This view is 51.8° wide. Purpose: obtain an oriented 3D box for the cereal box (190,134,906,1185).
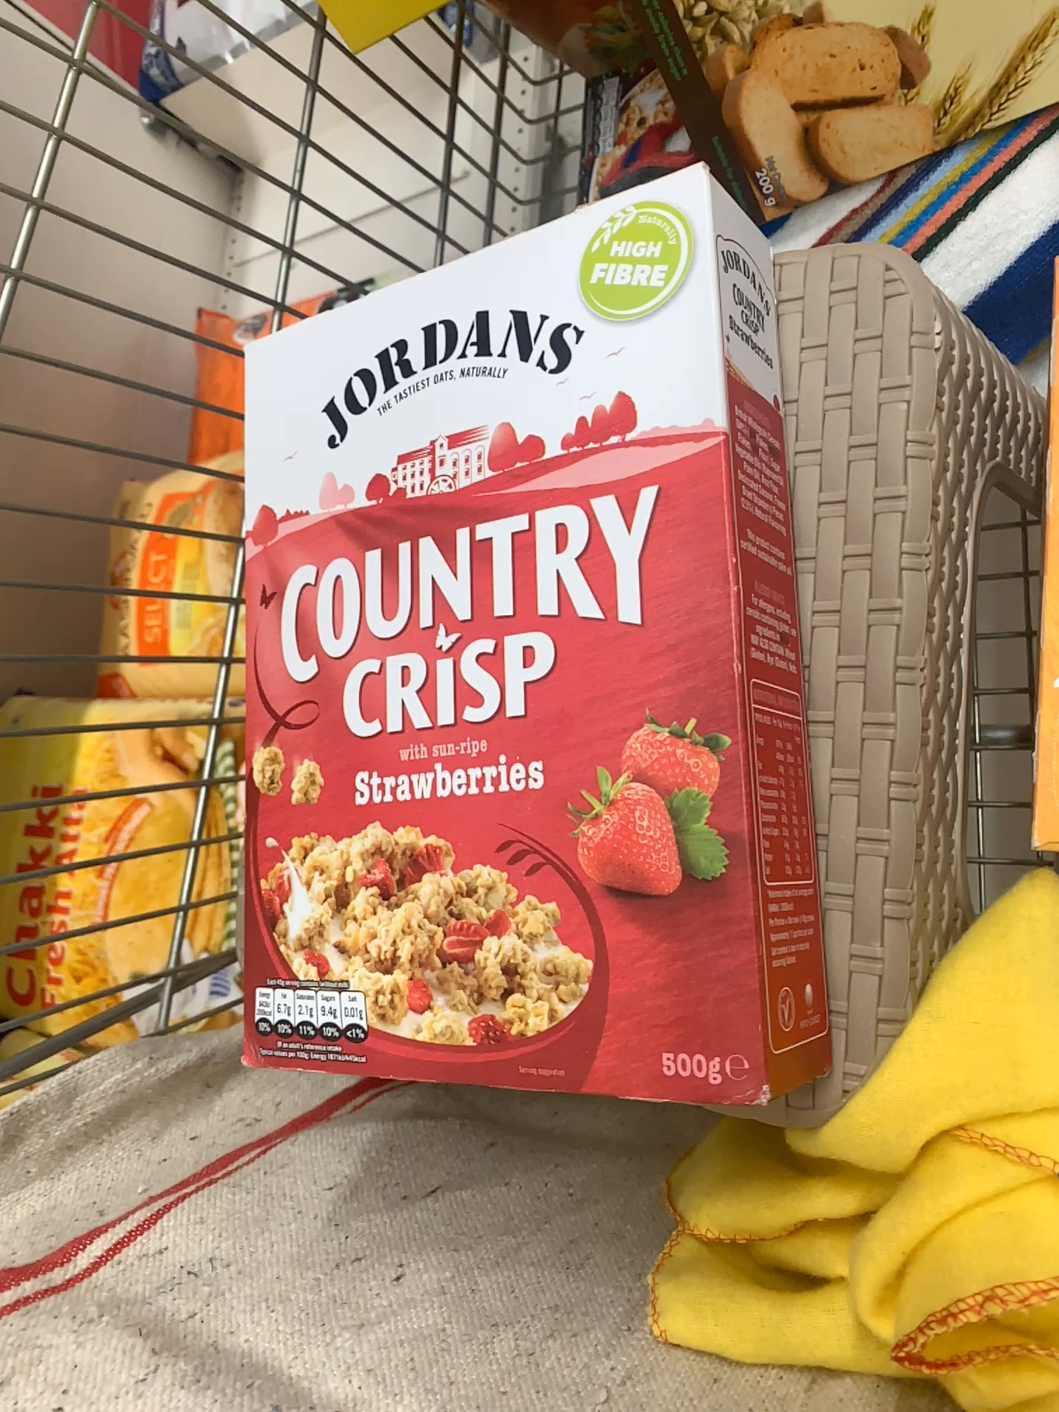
[{"bbox_3d":[-0.004,-0.004,0.310,0.181,0.070,0.230,-8,78,32],"label":"cereal box"}]
